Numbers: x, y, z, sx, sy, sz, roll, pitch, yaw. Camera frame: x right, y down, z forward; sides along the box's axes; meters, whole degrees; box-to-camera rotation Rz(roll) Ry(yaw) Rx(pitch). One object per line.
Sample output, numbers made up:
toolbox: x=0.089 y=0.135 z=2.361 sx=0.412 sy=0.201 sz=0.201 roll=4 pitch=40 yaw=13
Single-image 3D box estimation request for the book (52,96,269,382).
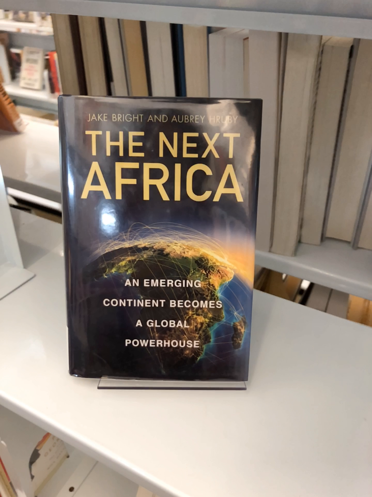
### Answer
book: x=-0.020 y=-0.004 z=0.323 sx=0.153 sy=0.211 sz=0.030 roll=1 pitch=9 yaw=0
